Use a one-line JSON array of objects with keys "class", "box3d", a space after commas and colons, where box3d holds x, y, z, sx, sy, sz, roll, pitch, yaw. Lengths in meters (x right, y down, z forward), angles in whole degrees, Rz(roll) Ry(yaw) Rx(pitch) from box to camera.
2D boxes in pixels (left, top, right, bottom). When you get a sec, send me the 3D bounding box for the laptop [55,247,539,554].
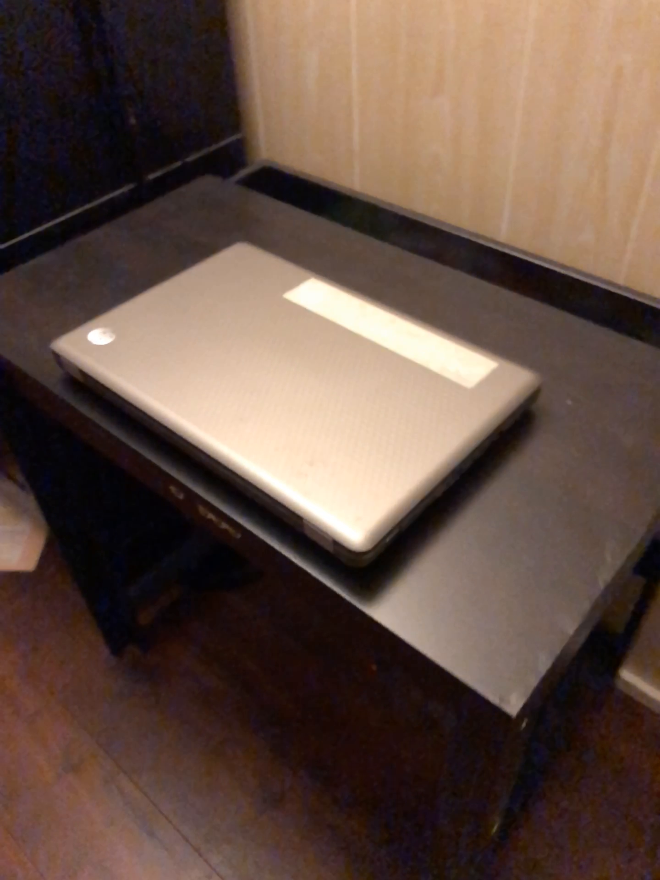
[{"class": "laptop", "box3d": [-0.039, -0.067, 0.637, 0.358, 0.001, 0.238, 30, 53, 30]}]
